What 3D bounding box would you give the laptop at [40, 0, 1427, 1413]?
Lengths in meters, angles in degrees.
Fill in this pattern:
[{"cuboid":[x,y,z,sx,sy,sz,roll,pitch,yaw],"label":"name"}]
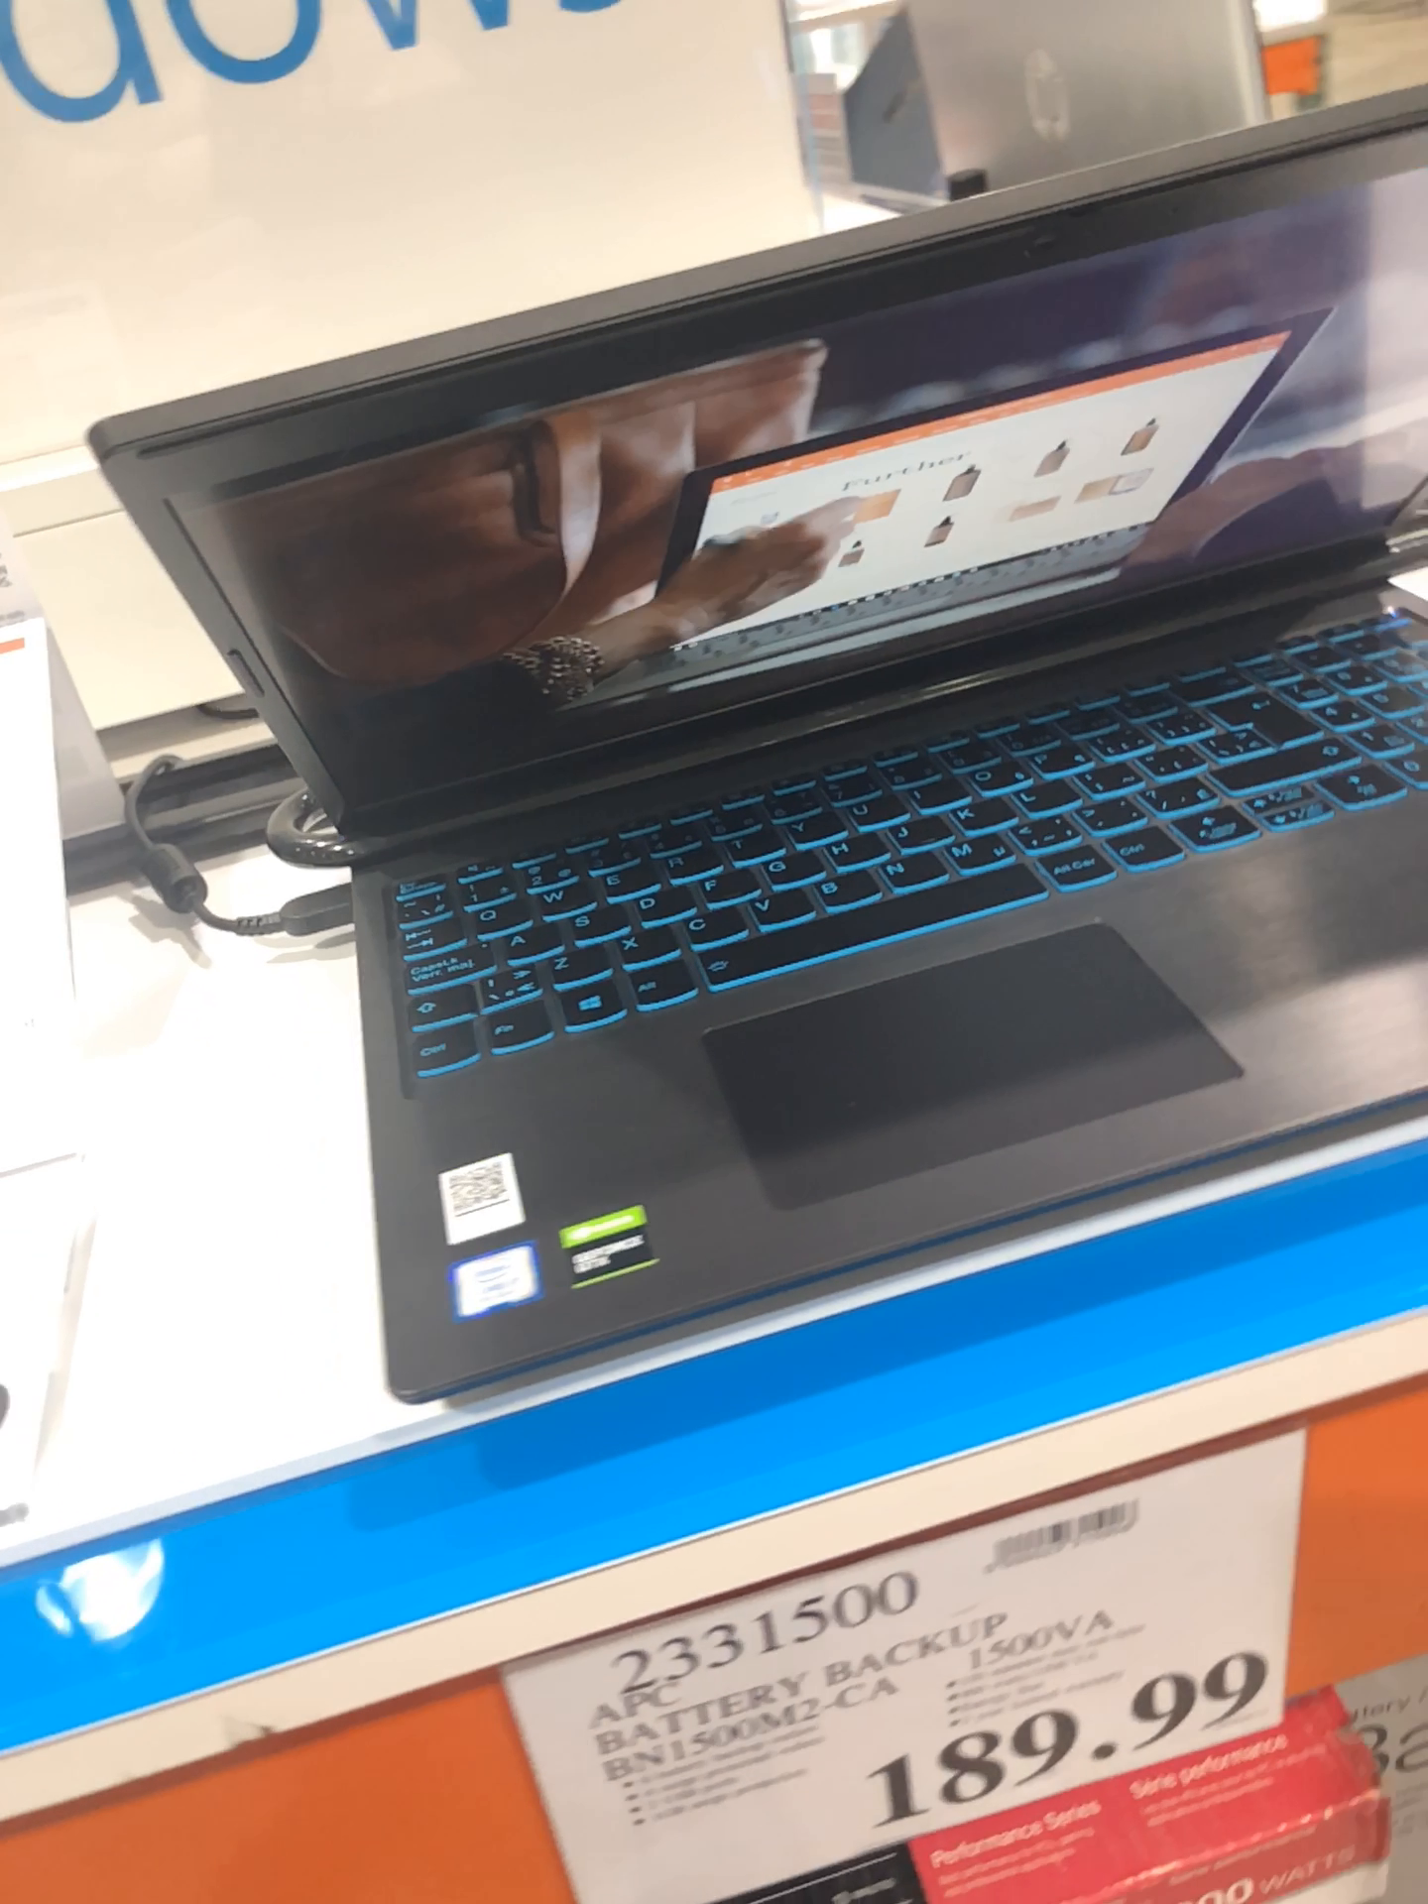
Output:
[{"cuboid":[0.064,-0.091,0.372,0.343,0.170,0.242,-16,32,-6],"label":"laptop"}]
